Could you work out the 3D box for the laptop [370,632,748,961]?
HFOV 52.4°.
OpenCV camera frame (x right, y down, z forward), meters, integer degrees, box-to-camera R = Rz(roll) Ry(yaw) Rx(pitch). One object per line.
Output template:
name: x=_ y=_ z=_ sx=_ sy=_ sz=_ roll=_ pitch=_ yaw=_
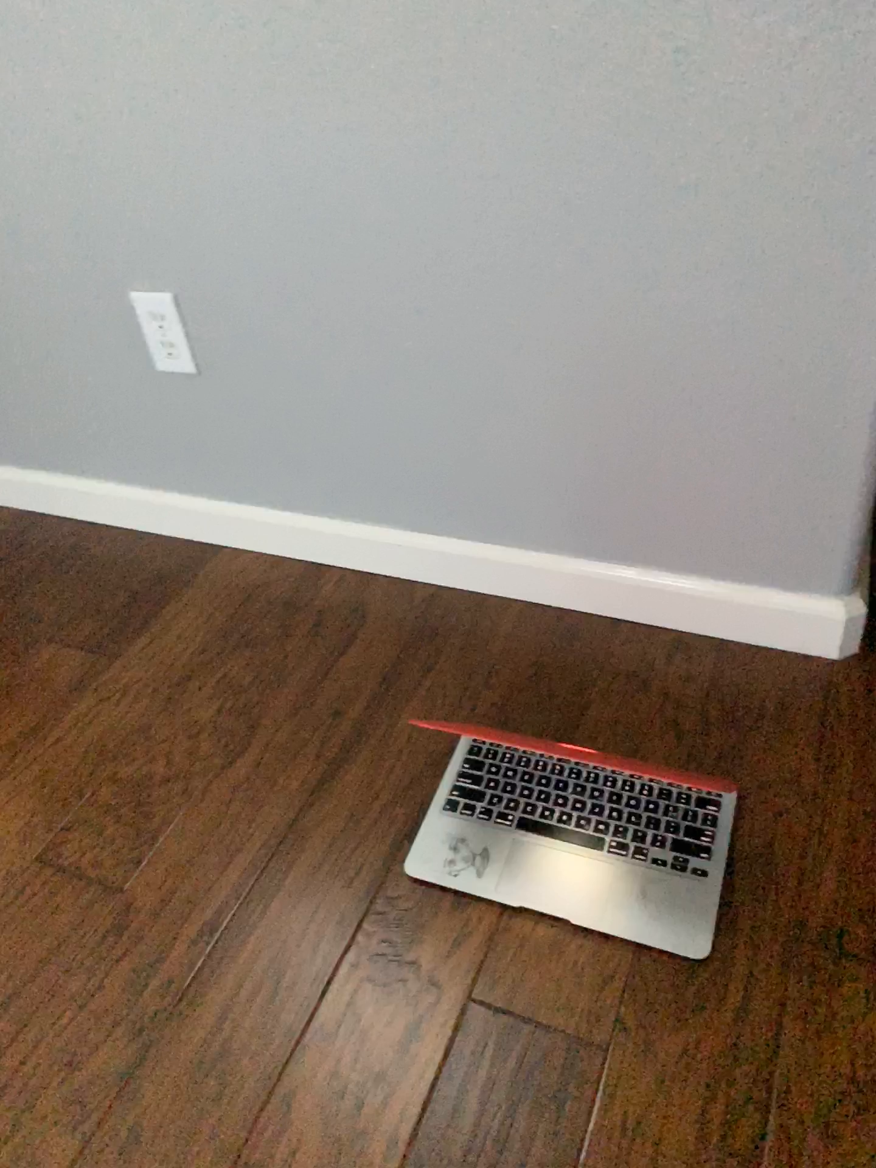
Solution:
laptop: x=0.123 y=0.189 z=0.857 sx=0.301 sy=0.139 sz=0.199 roll=9 pitch=42 yaw=21
